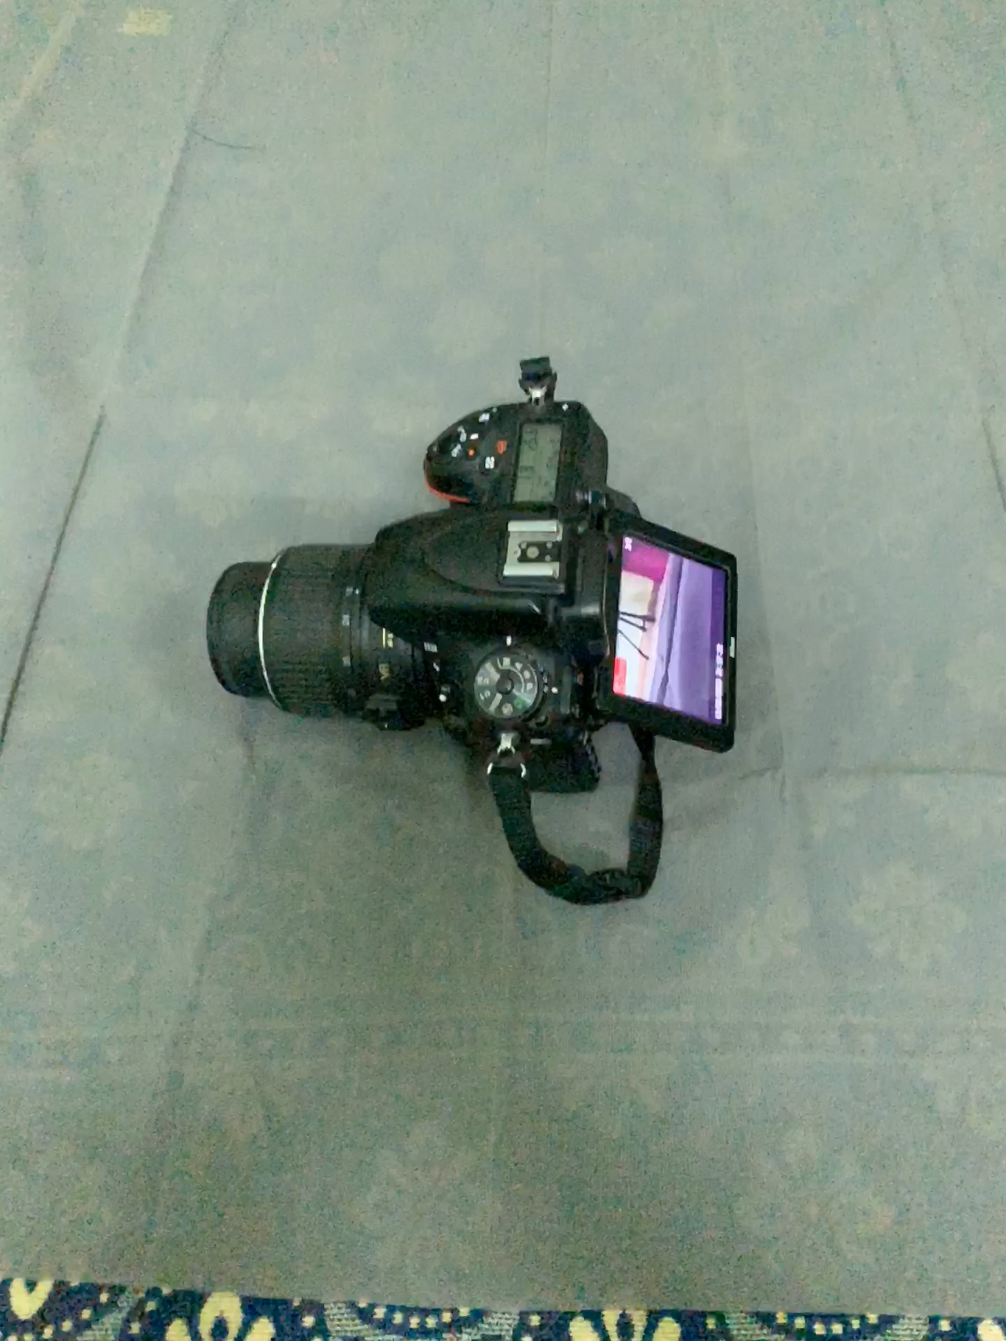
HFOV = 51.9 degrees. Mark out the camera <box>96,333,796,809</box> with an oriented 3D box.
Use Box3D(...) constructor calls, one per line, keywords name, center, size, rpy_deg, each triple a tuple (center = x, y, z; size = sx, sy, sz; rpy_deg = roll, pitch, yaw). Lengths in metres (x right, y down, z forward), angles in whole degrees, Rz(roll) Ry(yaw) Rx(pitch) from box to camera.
Box3D(name="camera", center=(-0.018, -0.040, 0.424), size=(0.230, 0.100, 0.166), rpy_deg=(0, 60, 1))
